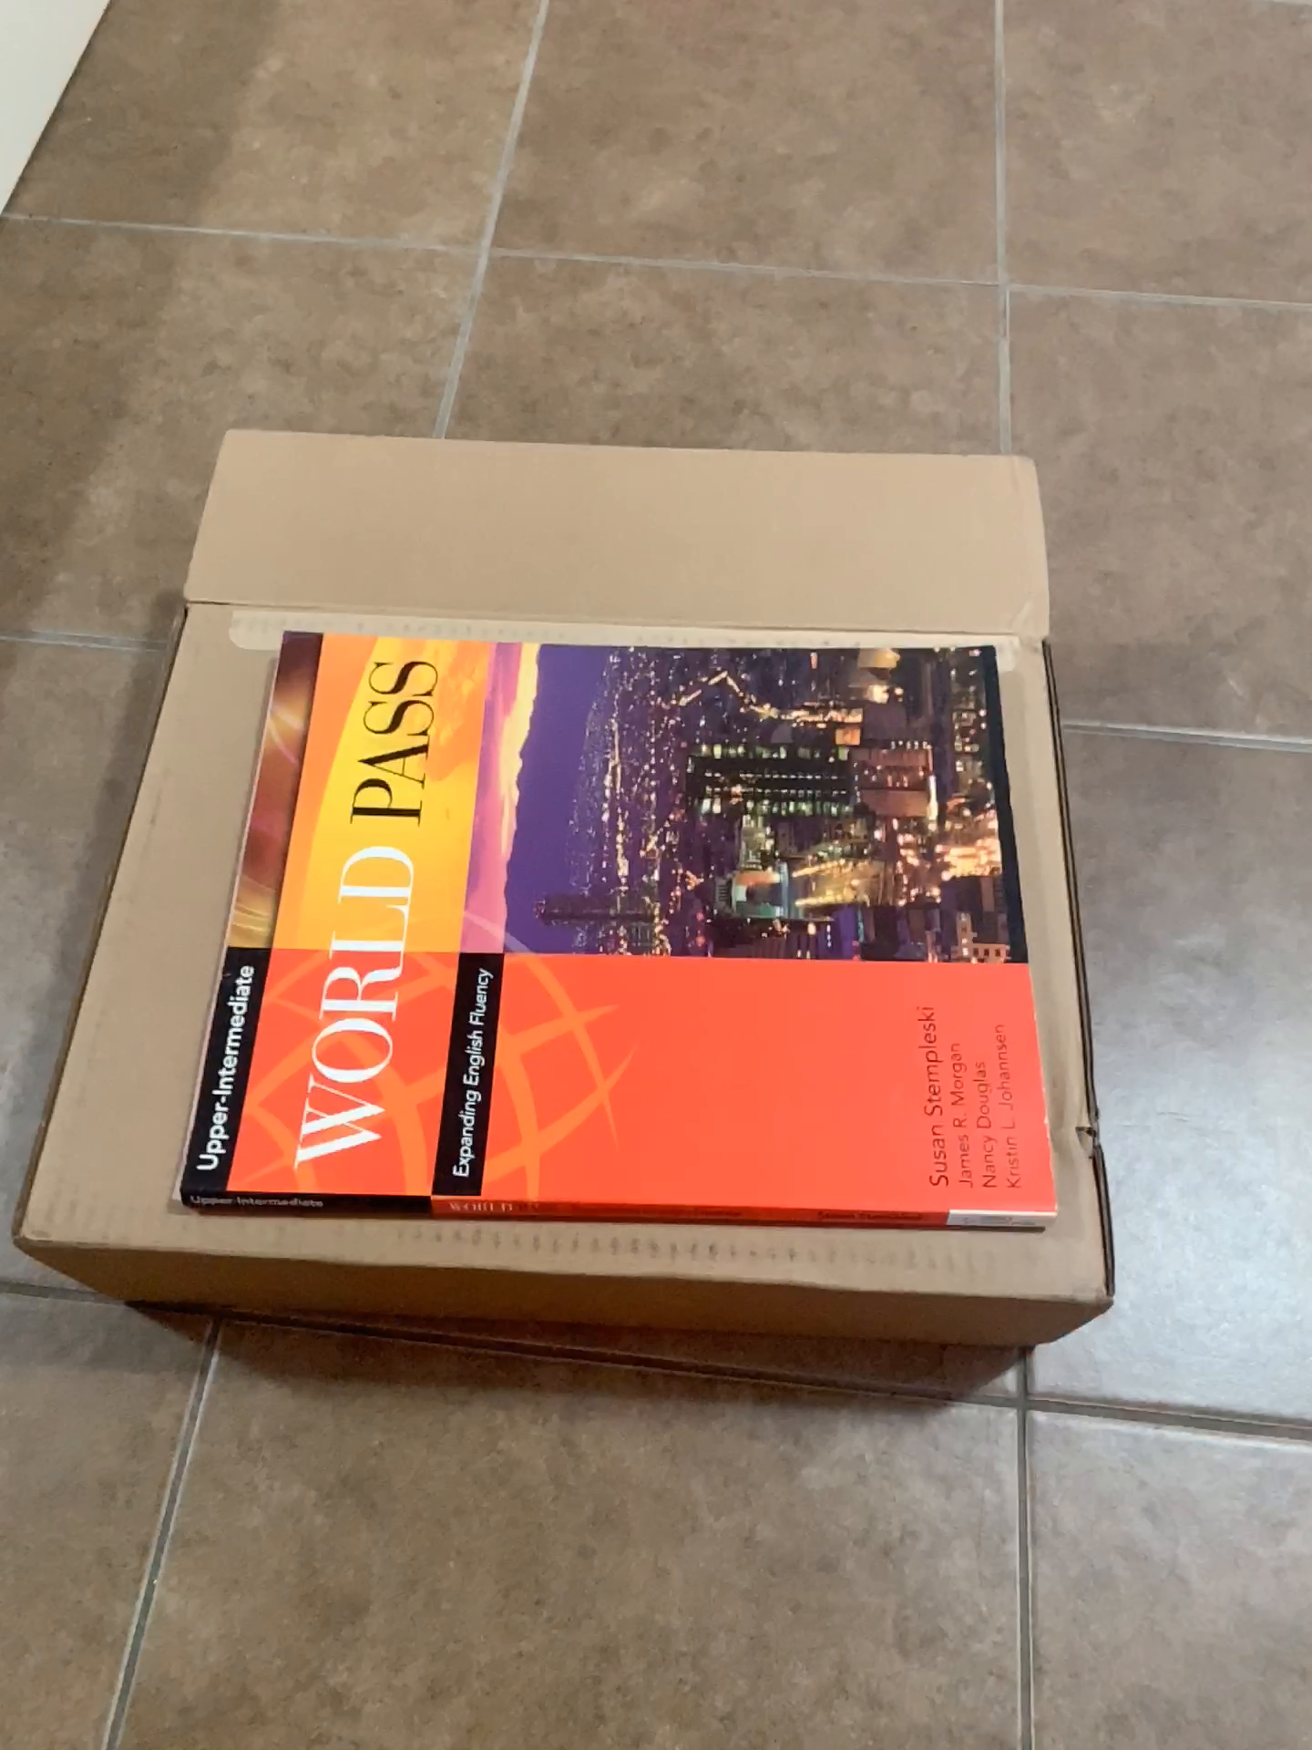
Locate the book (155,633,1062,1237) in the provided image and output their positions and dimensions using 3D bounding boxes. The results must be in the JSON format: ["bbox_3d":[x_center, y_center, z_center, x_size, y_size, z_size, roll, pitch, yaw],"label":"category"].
[{"bbox_3d":[-0.012,0.011,0.455,0.270,0.018,0.211,1,63,1],"label":"book"}]
